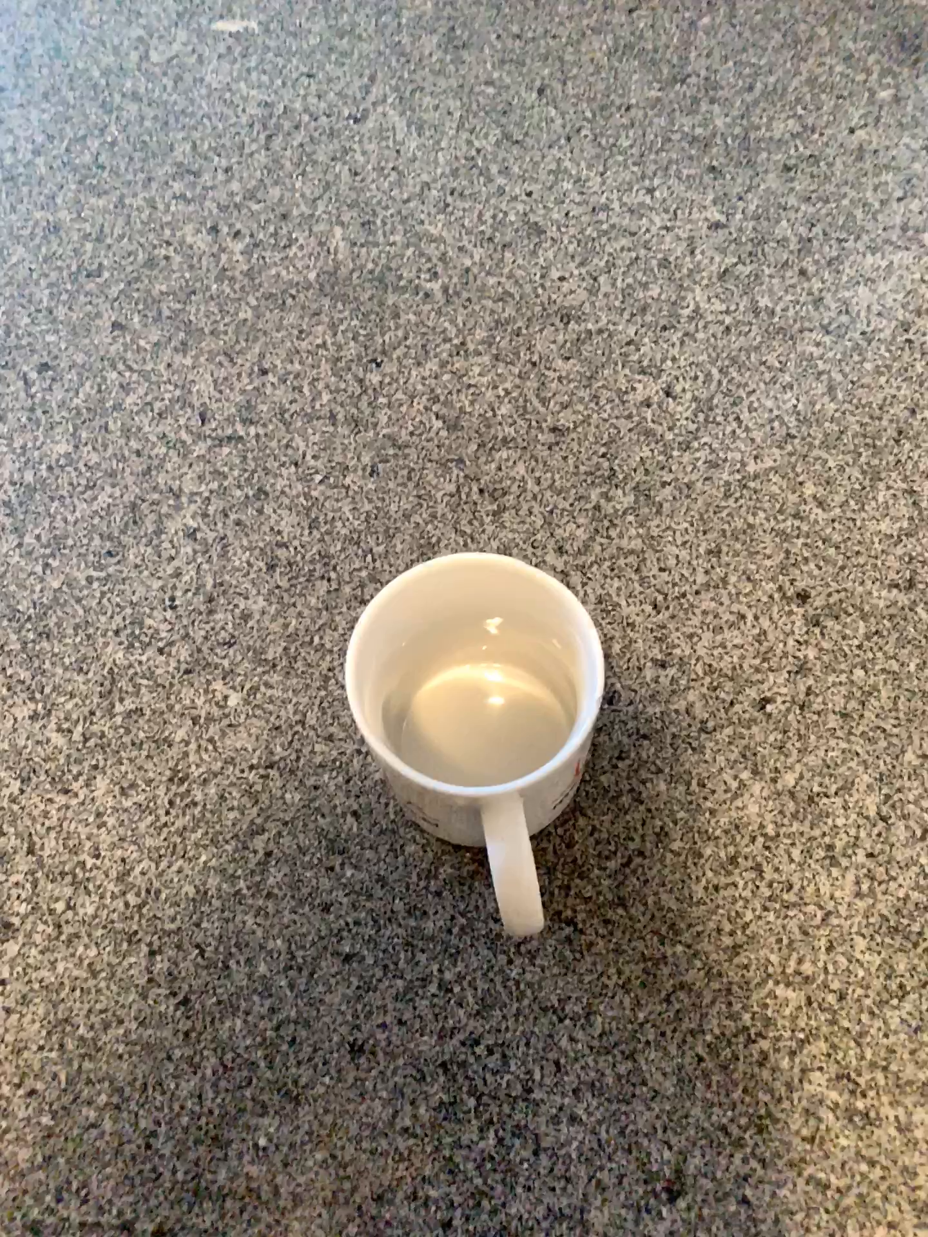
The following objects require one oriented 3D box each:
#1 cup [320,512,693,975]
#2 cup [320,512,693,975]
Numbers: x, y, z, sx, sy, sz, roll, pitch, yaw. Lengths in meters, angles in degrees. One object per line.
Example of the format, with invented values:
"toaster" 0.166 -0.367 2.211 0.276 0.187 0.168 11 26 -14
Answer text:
"cup" 0.010 0.047 0.325 0.090 0.100 0.120 -9 65 -1
"cup" 0.010 0.047 0.325 0.090 0.100 0.120 -9 65 -1
